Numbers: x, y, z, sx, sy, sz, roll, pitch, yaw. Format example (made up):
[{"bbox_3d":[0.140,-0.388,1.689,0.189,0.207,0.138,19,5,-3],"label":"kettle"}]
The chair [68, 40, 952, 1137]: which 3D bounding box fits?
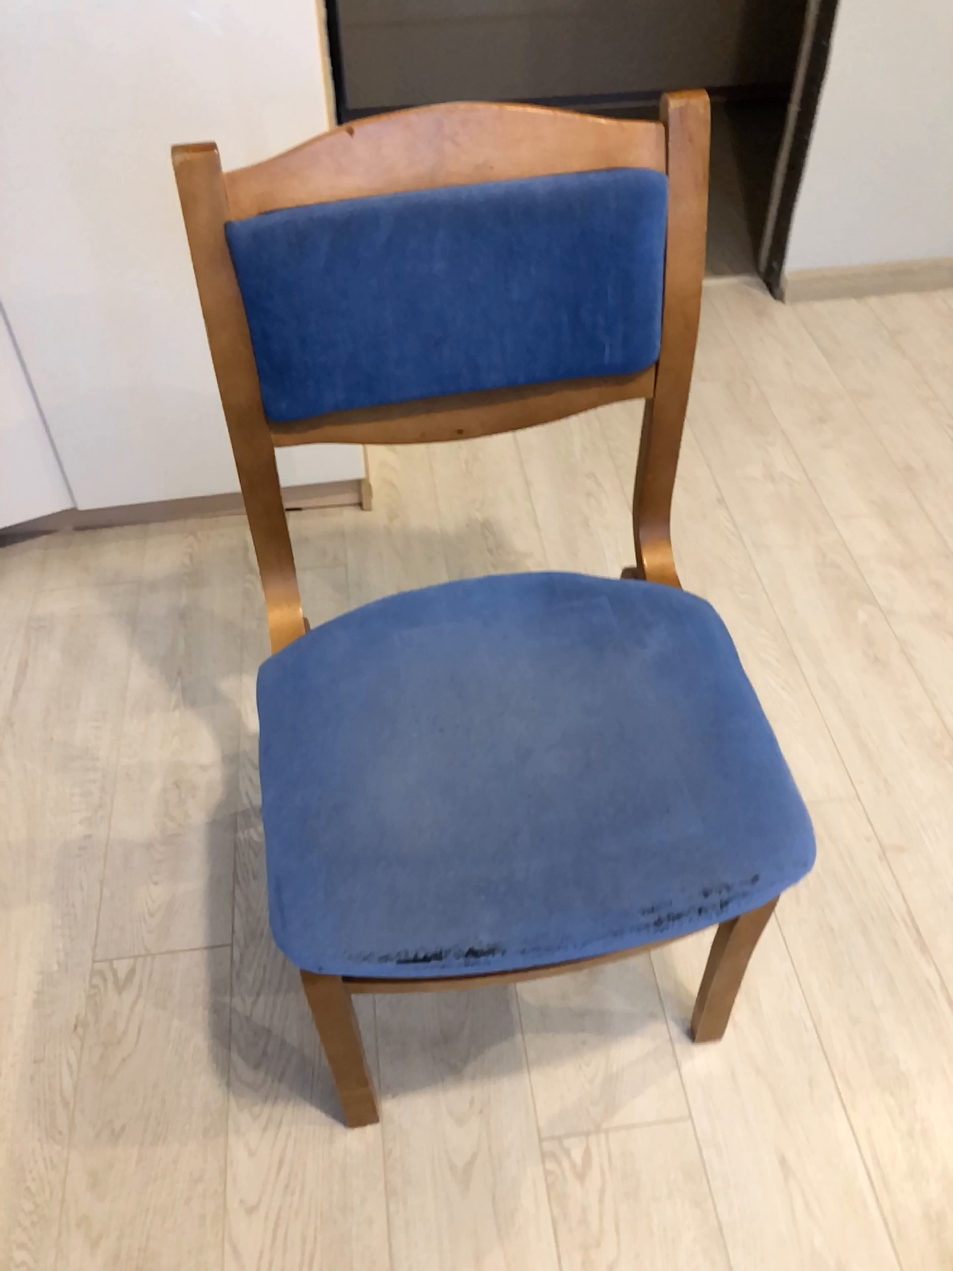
[{"bbox_3d":[0.017,0.023,0.911,0.450,0.805,0.473,-9,49,-6],"label":"chair"}]
